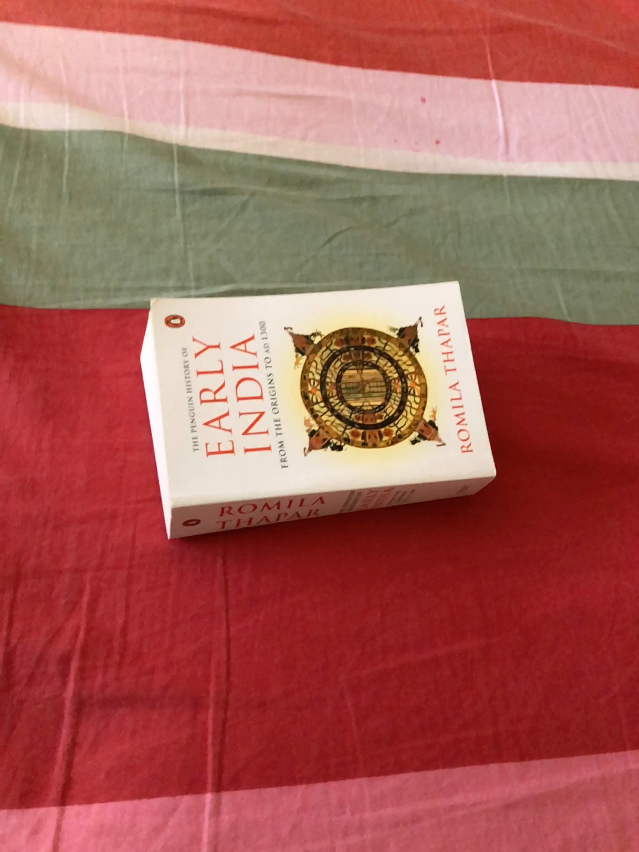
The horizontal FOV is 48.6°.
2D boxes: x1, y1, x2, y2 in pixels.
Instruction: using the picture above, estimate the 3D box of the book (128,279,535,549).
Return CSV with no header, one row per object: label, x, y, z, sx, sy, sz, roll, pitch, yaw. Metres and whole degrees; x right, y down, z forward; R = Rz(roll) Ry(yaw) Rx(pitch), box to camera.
book,0.002,-0.013,0.411,0.201,0.070,0.120,-6,63,-22
